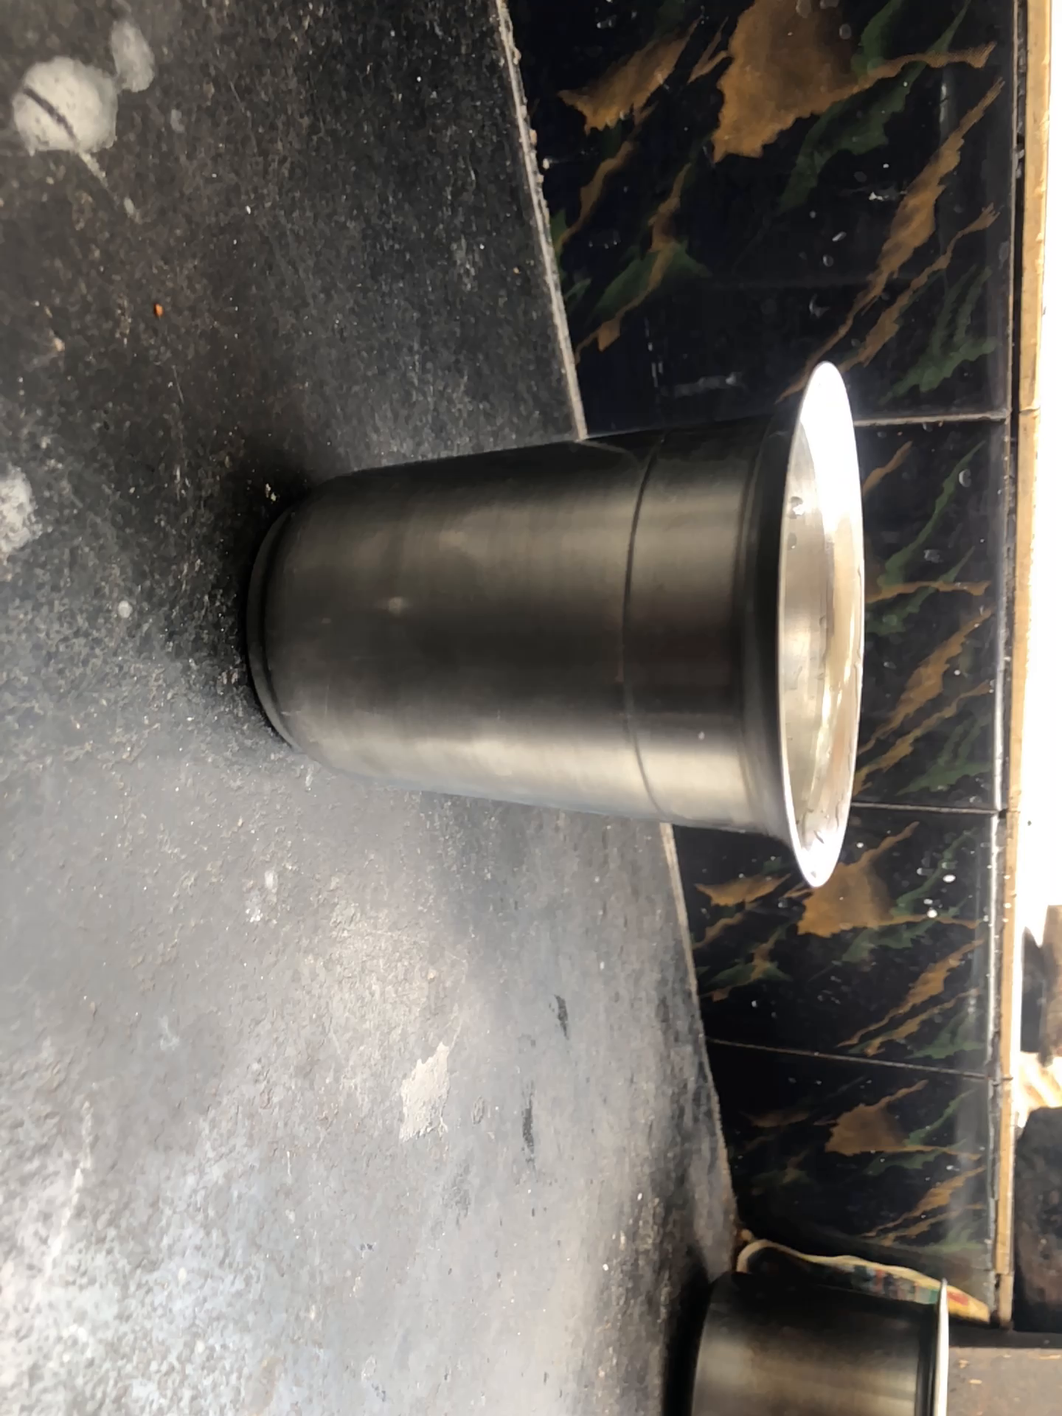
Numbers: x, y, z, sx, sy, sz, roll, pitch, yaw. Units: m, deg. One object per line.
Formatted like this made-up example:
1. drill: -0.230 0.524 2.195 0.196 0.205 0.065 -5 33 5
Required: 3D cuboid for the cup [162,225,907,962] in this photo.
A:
1. cup: 0.013 -0.017 0.222 0.090 0.099 0.090 1 90 -69
